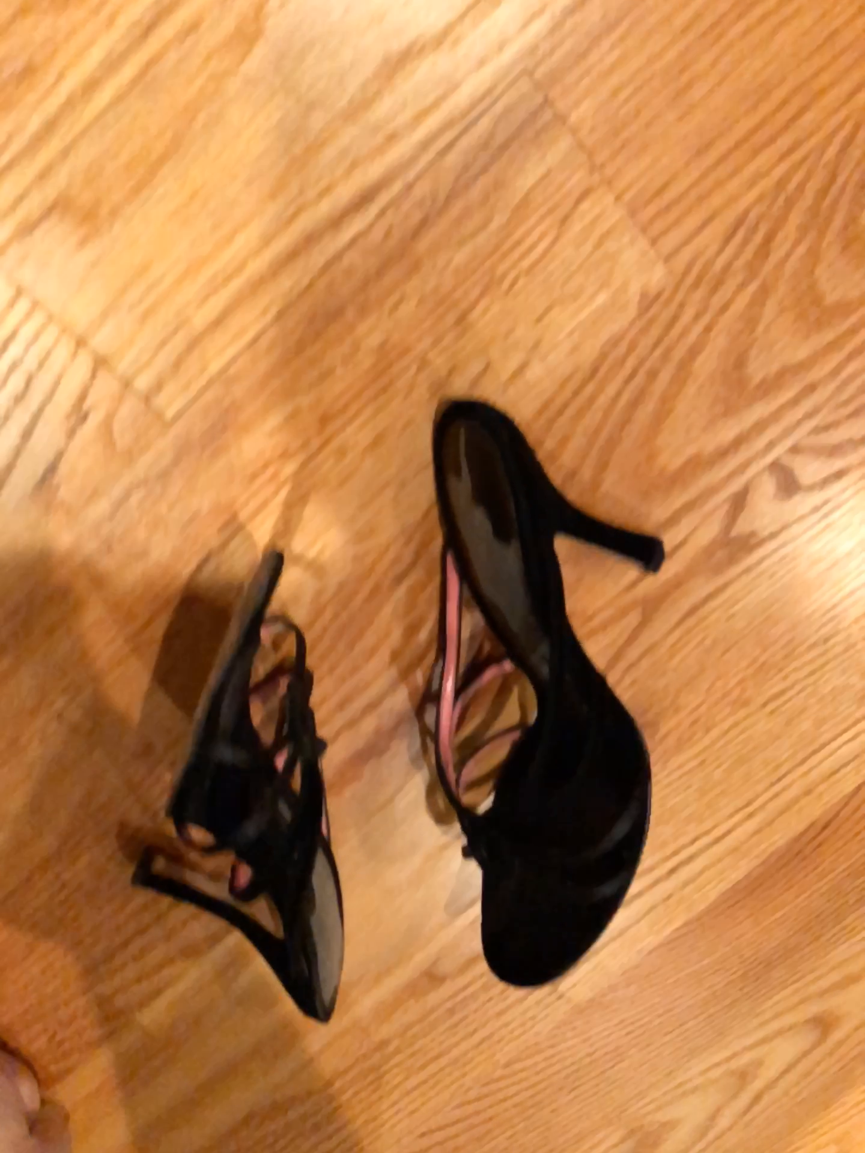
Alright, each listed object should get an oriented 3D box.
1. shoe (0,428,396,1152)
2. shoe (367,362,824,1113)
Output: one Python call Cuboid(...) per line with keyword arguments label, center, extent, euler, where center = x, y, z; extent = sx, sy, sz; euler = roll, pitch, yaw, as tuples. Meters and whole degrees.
Cuboid(label="shoe", center=(-0.070, 0.084, 0.314), extent=(0.082, 0.104, 0.236), euler=(-8, 116, -10))
Cuboid(label="shoe", center=(0.045, 0.052, 0.324), extent=(0.102, 0.104, 0.216), euler=(-8, 116, -8))
